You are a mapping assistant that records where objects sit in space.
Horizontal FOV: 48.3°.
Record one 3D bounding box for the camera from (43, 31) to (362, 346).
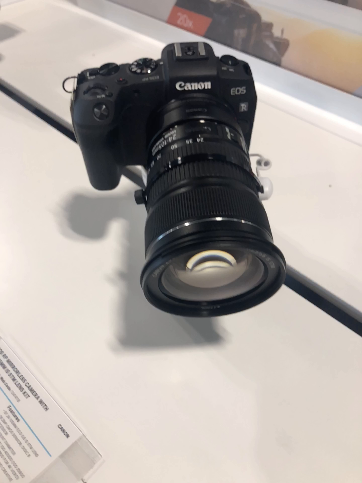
[{"bbox_3d":[0.002,-0.046,0.264,0.136,0.089,0.191,-4,51,-4],"label":"camera"}]
